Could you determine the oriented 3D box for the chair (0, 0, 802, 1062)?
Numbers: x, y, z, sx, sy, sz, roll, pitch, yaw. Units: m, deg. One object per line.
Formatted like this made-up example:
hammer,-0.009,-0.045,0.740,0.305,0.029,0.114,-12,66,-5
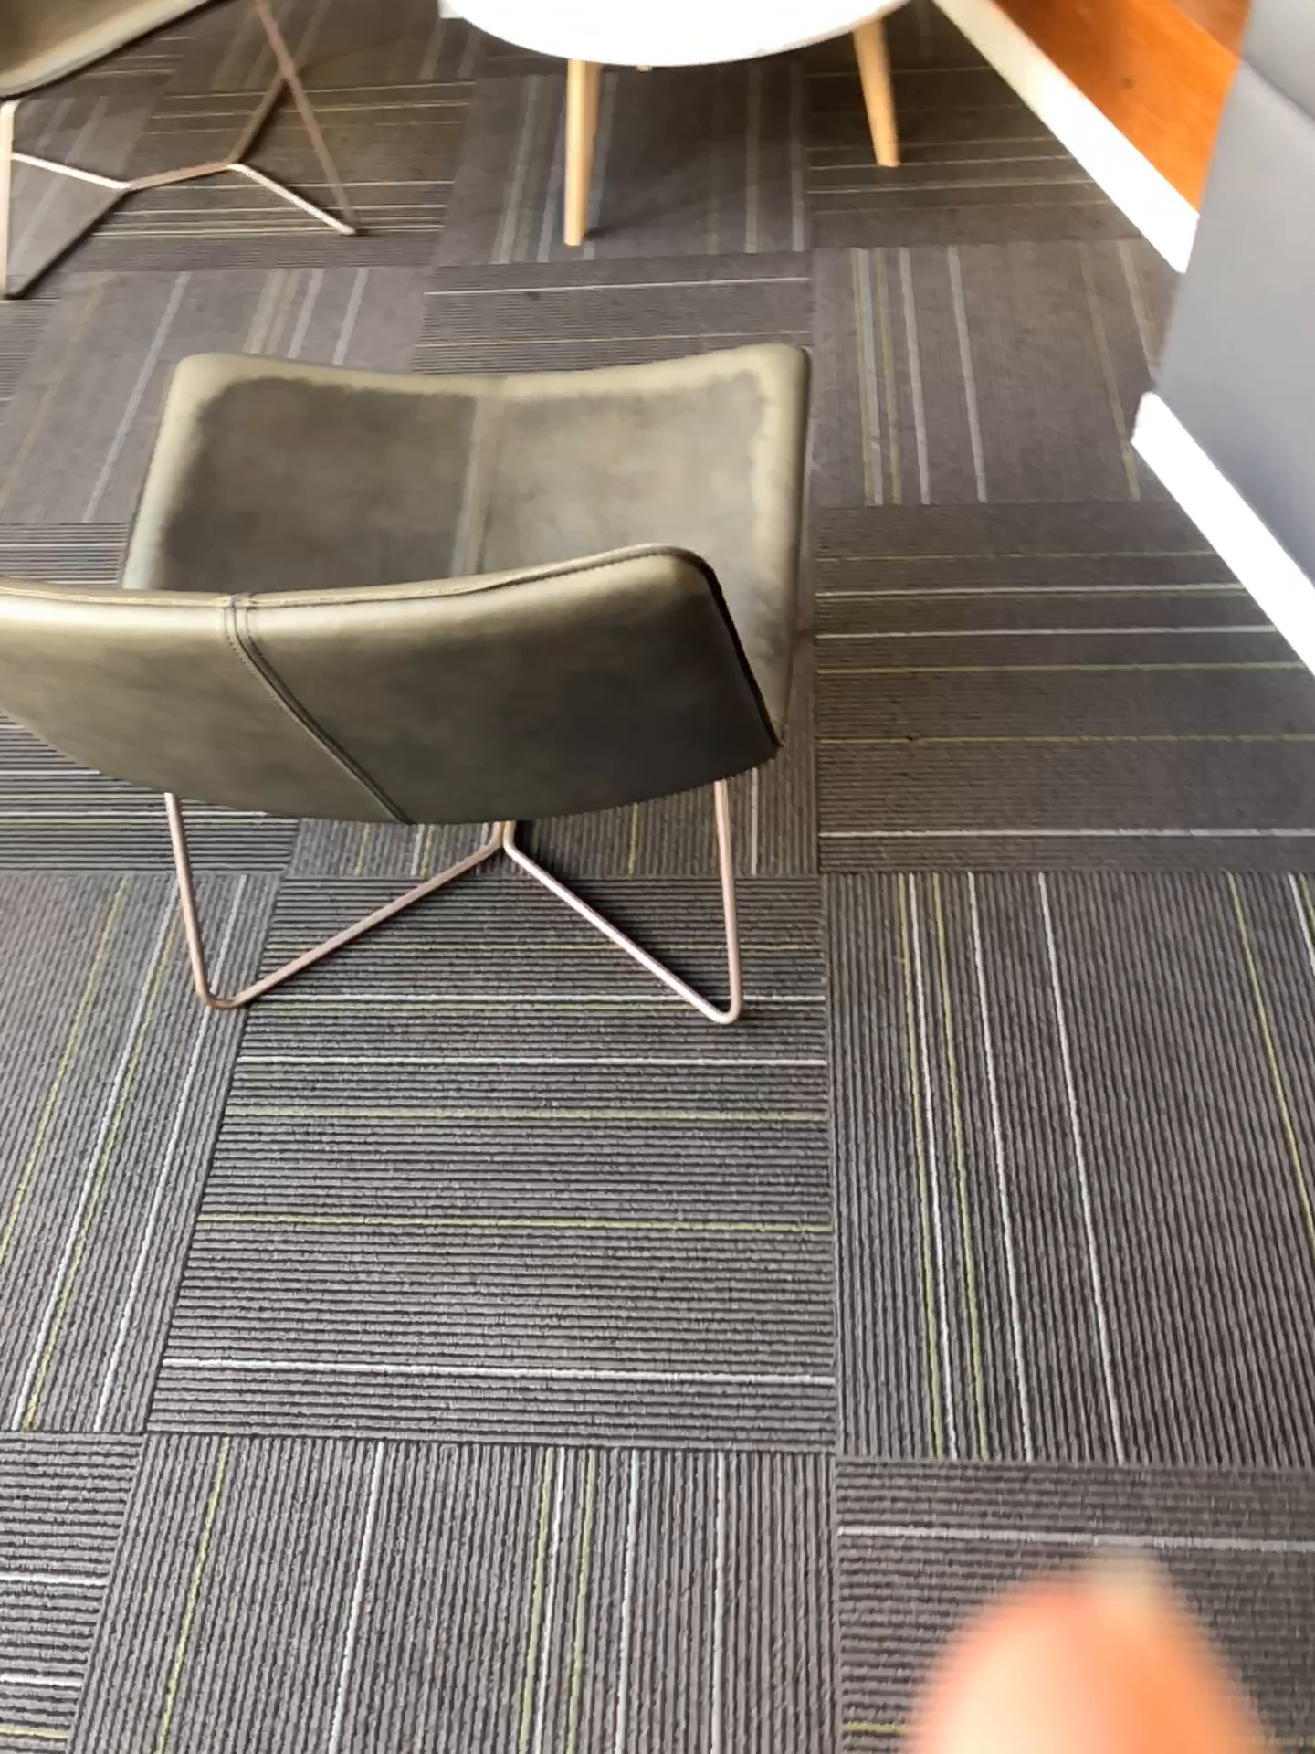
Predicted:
chair,-0.211,-0.310,1.366,0.670,0.877,0.652,1,60,5
